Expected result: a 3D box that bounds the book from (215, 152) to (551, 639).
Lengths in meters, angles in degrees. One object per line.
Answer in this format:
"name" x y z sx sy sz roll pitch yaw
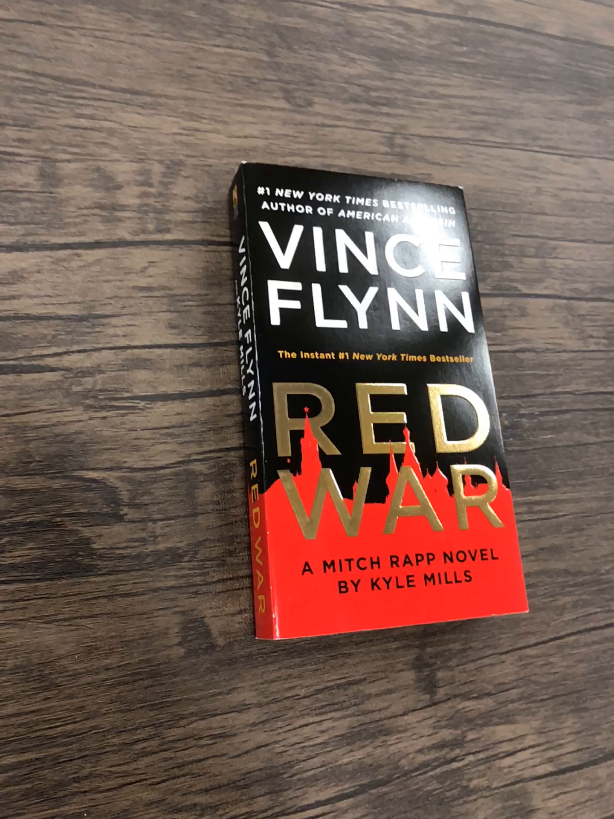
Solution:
"book" 0.026 -0.010 0.278 0.110 0.030 0.183 0 73 -20
